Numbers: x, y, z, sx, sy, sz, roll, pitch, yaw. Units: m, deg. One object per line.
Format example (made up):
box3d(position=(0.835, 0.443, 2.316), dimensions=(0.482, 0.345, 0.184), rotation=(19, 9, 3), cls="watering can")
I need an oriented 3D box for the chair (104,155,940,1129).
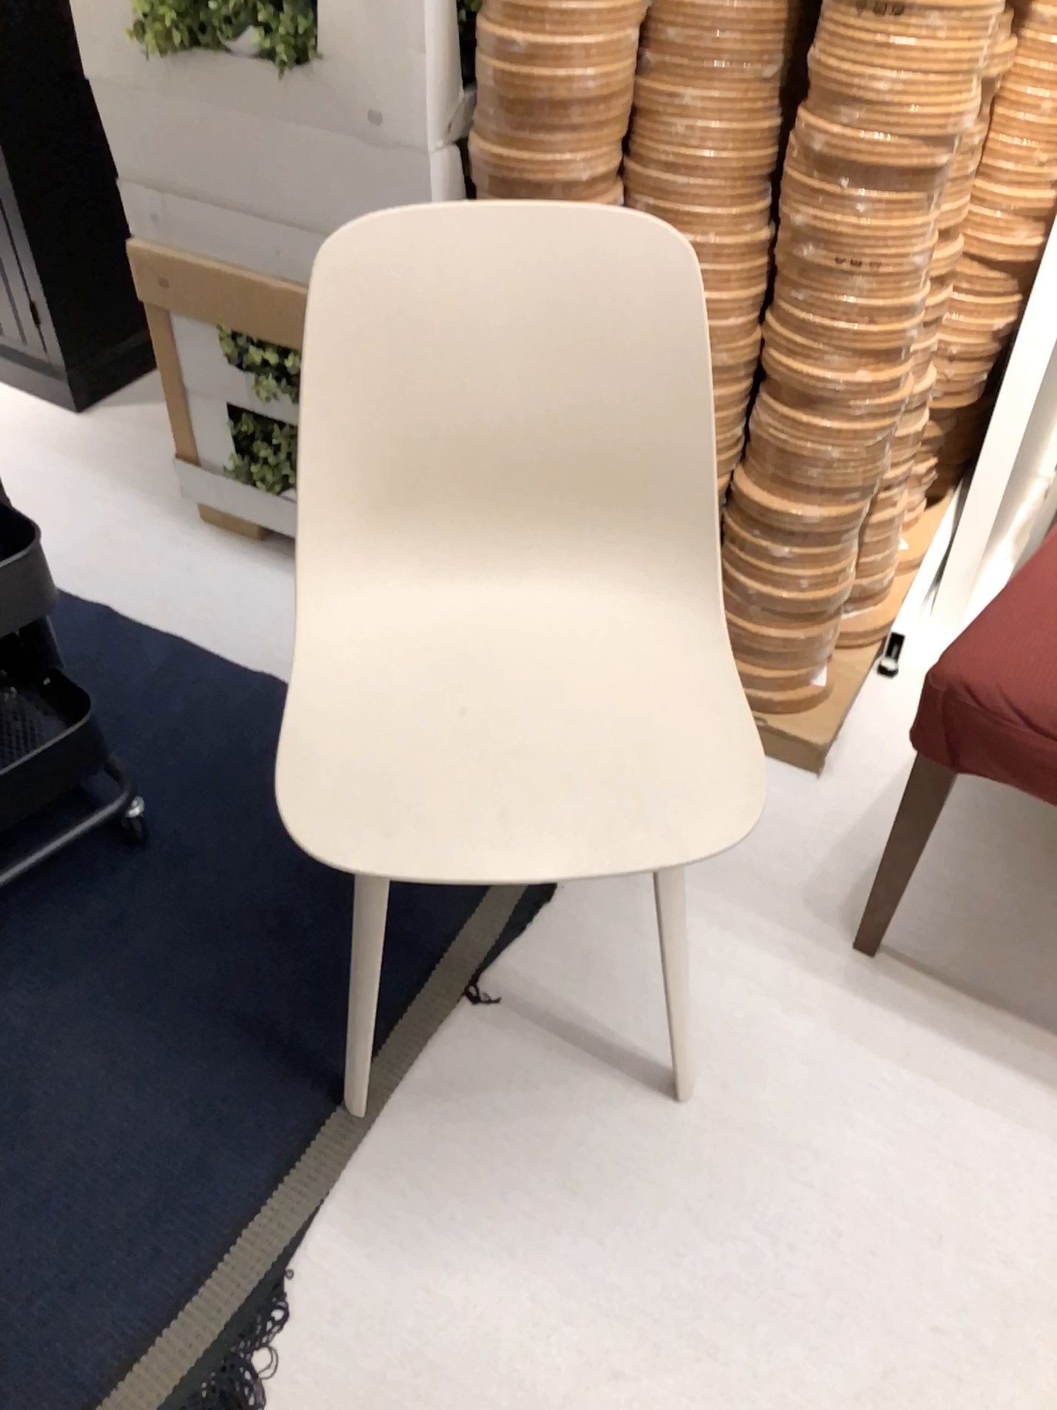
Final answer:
box3d(position=(-0.013, -0.032, 1.045), dimensions=(0.450, 0.696, 0.493), rotation=(-3, 45, -2), cls="chair")
